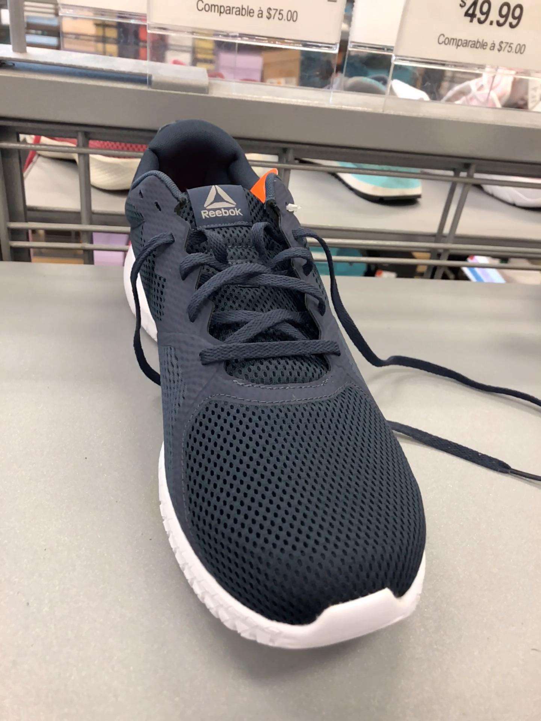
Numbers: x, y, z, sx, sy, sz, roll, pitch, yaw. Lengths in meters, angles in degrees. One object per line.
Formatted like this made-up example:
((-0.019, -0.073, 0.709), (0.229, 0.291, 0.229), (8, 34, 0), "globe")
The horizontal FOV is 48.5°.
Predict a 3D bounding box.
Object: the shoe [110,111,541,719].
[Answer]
((-0.005, -0.026, 0.303), (0.120, 0.109, 0.322), (-3, 35, -18), "shoe")
